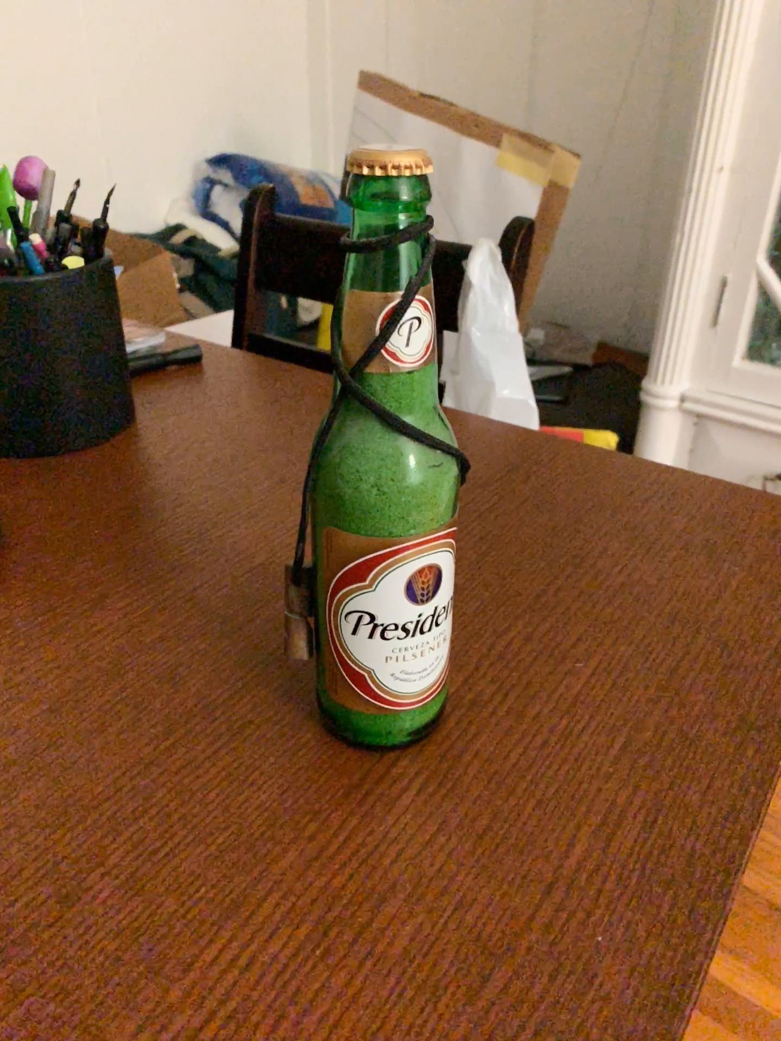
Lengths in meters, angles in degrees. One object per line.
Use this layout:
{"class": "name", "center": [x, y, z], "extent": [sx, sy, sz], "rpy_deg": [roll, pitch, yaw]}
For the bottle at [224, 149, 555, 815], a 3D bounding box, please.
{"class": "bottle", "center": [-0.004, -0.009, 0.314], "extent": [0.080, 0.239, 0.070], "rpy_deg": [-16, 34, -26]}
